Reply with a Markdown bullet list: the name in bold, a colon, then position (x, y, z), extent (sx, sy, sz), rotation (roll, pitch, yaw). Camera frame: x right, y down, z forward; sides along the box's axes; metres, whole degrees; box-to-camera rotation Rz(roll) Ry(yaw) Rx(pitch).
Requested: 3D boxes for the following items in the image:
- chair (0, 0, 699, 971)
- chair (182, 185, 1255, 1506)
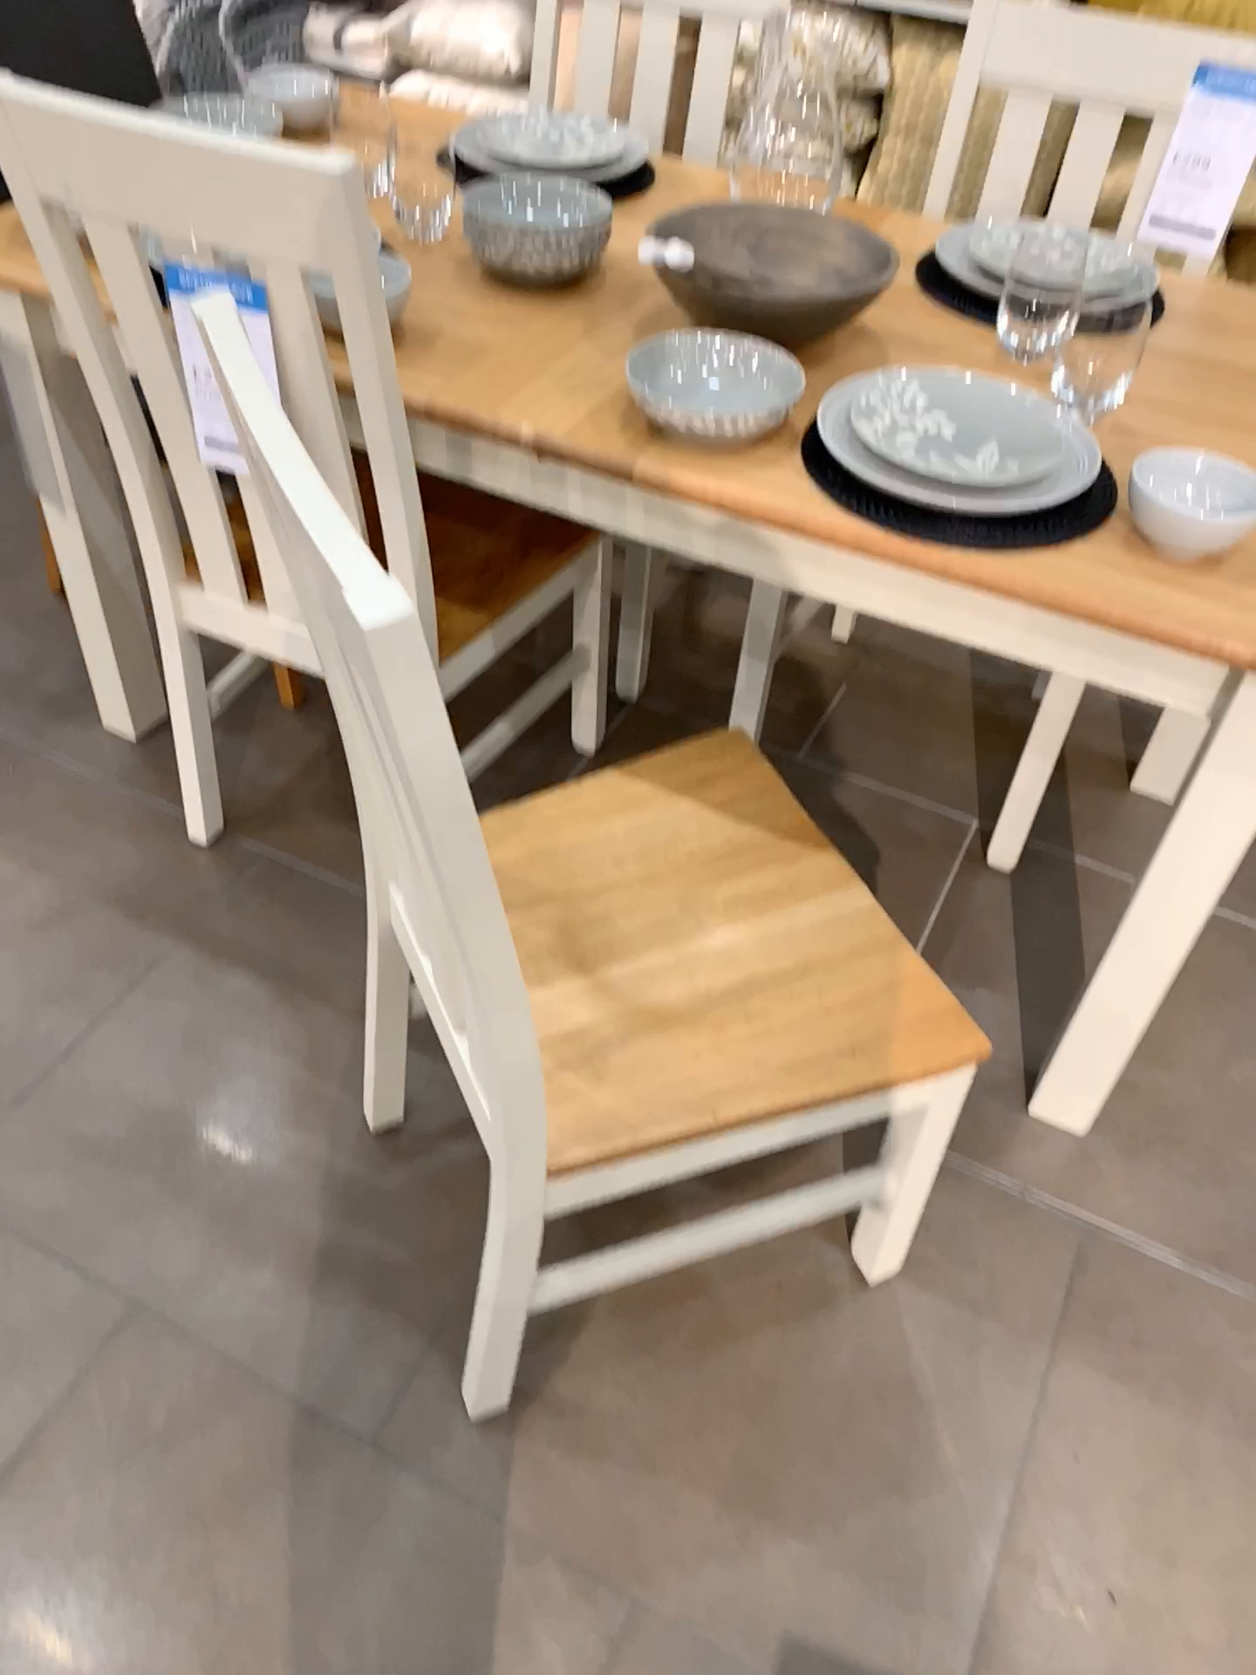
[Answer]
- **chair**: position (-0.291, -0.412, 1.545), extent (0.472, 0.924, 0.540), rotation (23, 47, 18)
- **chair**: position (0.030, 0.041, 1.096), extent (0.547, 0.924, 0.505), rotation (-16, 48, -20)
